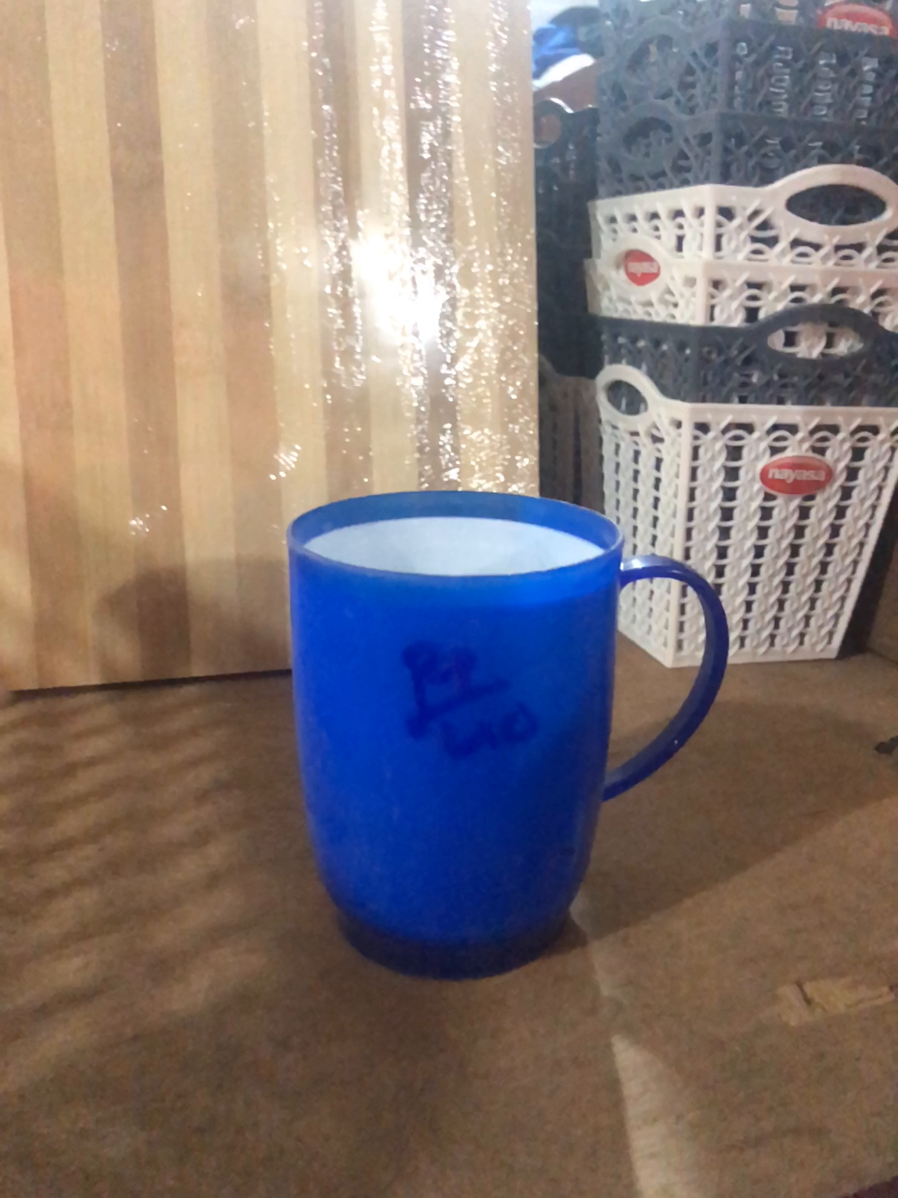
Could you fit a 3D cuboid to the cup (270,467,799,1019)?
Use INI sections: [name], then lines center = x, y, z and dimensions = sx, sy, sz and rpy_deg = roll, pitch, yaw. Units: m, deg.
[cup]
center = 0.014, 0.030, 0.255
dimensions = 0.110, 0.110, 0.070
rpy_deg = -4, 19, -12
